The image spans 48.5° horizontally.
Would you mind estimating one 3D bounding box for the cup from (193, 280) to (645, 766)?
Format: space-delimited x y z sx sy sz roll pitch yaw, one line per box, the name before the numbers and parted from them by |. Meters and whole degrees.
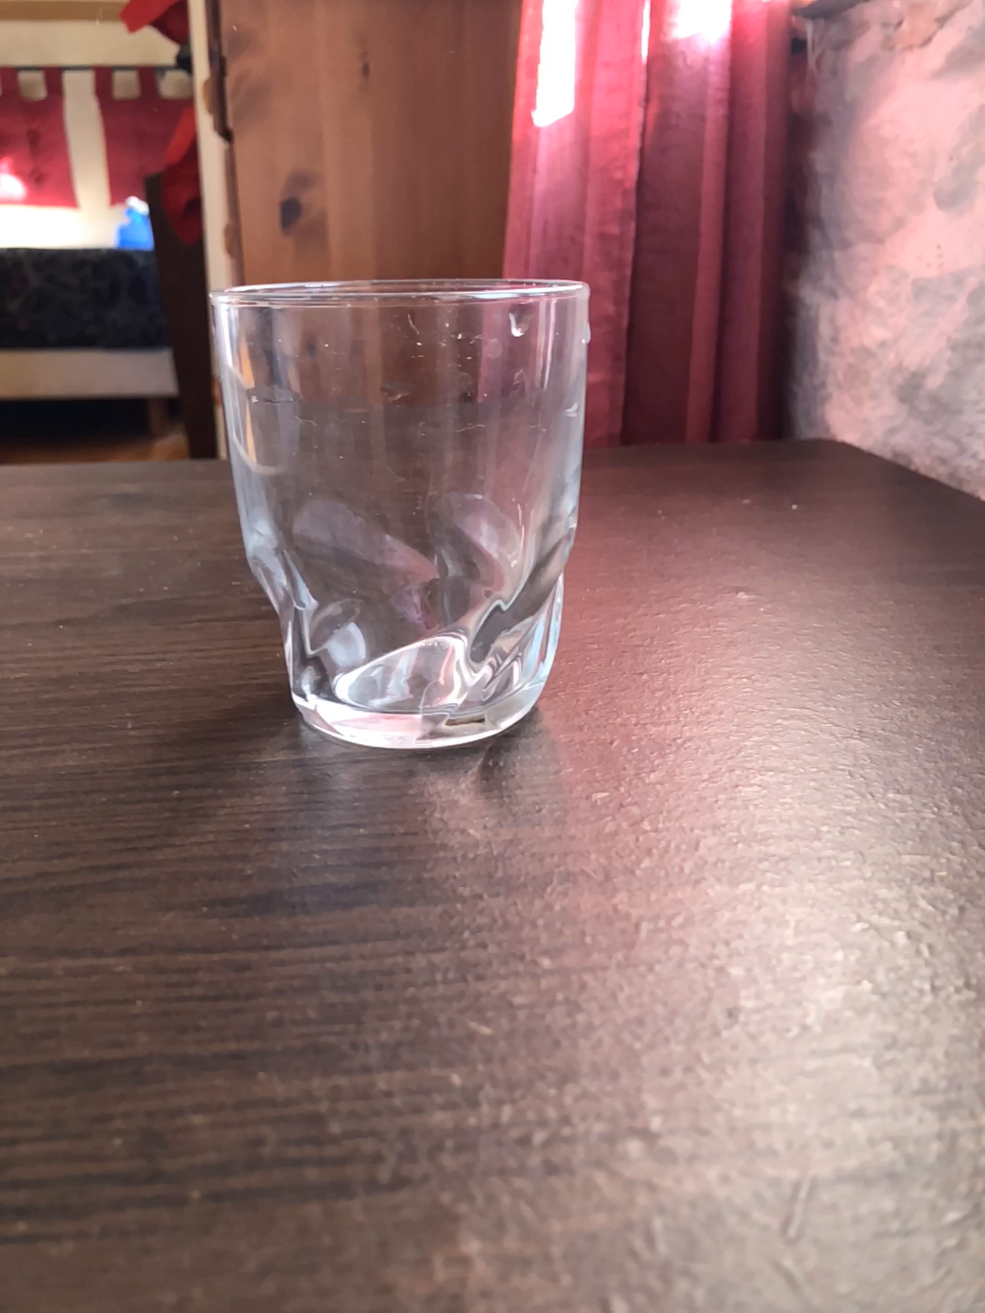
cup | -0.014 -0.034 0.232 0.075 0.085 0.078 0 20 0
